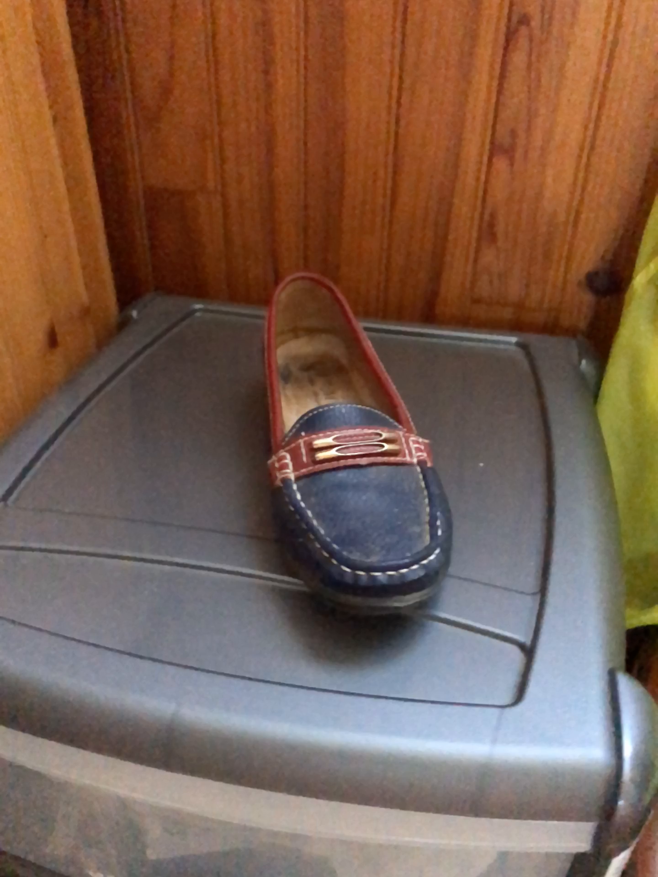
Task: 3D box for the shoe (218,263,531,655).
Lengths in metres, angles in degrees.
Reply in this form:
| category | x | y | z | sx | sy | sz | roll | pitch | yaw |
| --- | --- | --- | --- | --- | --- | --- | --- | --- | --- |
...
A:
| category | x | y | z | sx | sy | sz | roll | pitch | yaw |
| --- | --- | --- | --- | --- | --- | --- | --- | --- | --- |
| shoe | 0.003 | -0.014 | 0.405 | 0.100 | 0.070 | 0.261 | -6 | 35 | -11 |
